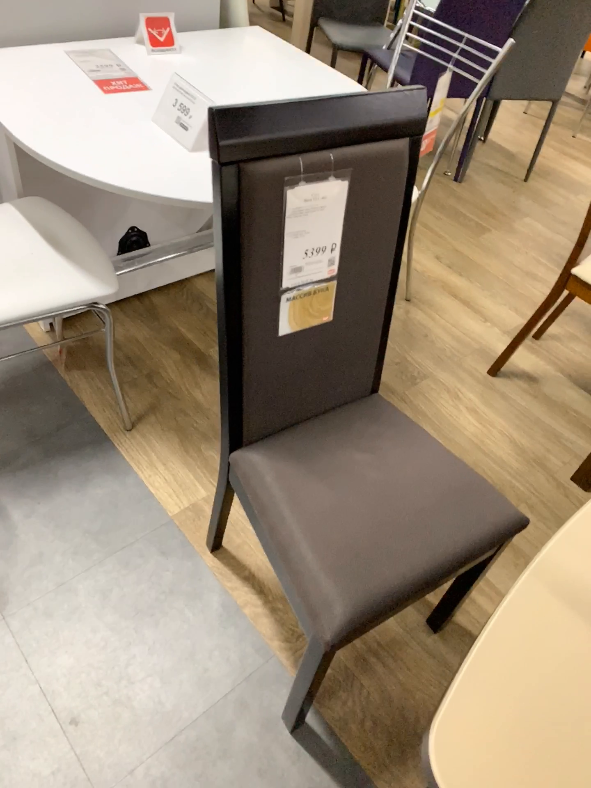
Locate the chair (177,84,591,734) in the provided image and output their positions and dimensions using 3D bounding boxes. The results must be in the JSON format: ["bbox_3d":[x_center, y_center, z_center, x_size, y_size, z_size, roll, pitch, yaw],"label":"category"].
[{"bbox_3d":[0.101,0.093,1.054,0.441,0.994,0.502,-19,53,-27],"label":"chair"}]
